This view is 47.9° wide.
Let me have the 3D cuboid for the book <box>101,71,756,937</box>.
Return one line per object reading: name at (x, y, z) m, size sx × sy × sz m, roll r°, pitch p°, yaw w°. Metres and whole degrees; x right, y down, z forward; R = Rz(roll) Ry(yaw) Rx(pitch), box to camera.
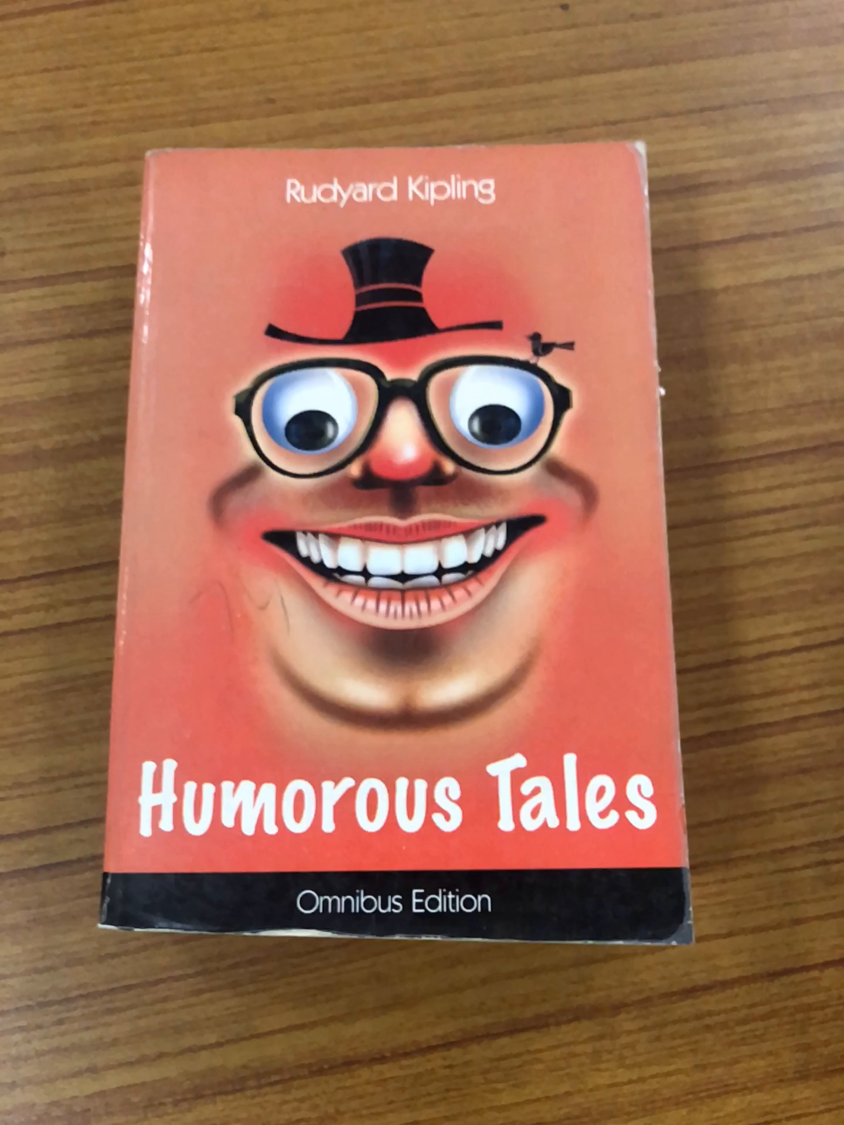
book at (0.000, -0.015, 0.228) m, size 0.130 × 0.040 × 0.190 m, roll -2°, pitch 77°, yaw 7°
